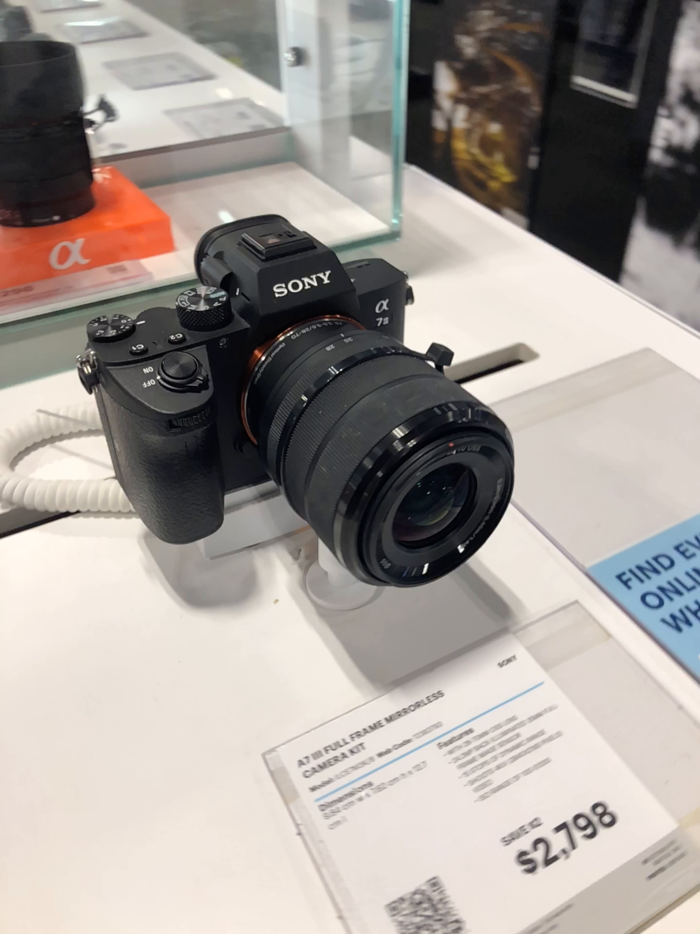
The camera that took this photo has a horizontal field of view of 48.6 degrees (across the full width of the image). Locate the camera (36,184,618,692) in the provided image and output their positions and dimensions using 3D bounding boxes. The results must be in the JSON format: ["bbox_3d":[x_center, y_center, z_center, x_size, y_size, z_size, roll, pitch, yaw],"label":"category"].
[{"bbox_3d":[-0.017,-0.029,0.293,0.140,0.079,0.161,-21,44,-23],"label":"camera"}]
